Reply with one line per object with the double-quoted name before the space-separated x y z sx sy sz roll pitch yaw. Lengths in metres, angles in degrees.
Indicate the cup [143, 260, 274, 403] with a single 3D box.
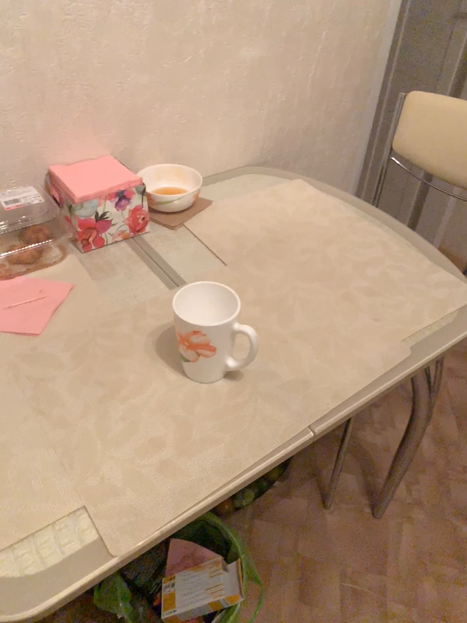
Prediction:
"cup" -0.028 0.022 0.562 0.120 0.109 0.081 20 44 19
